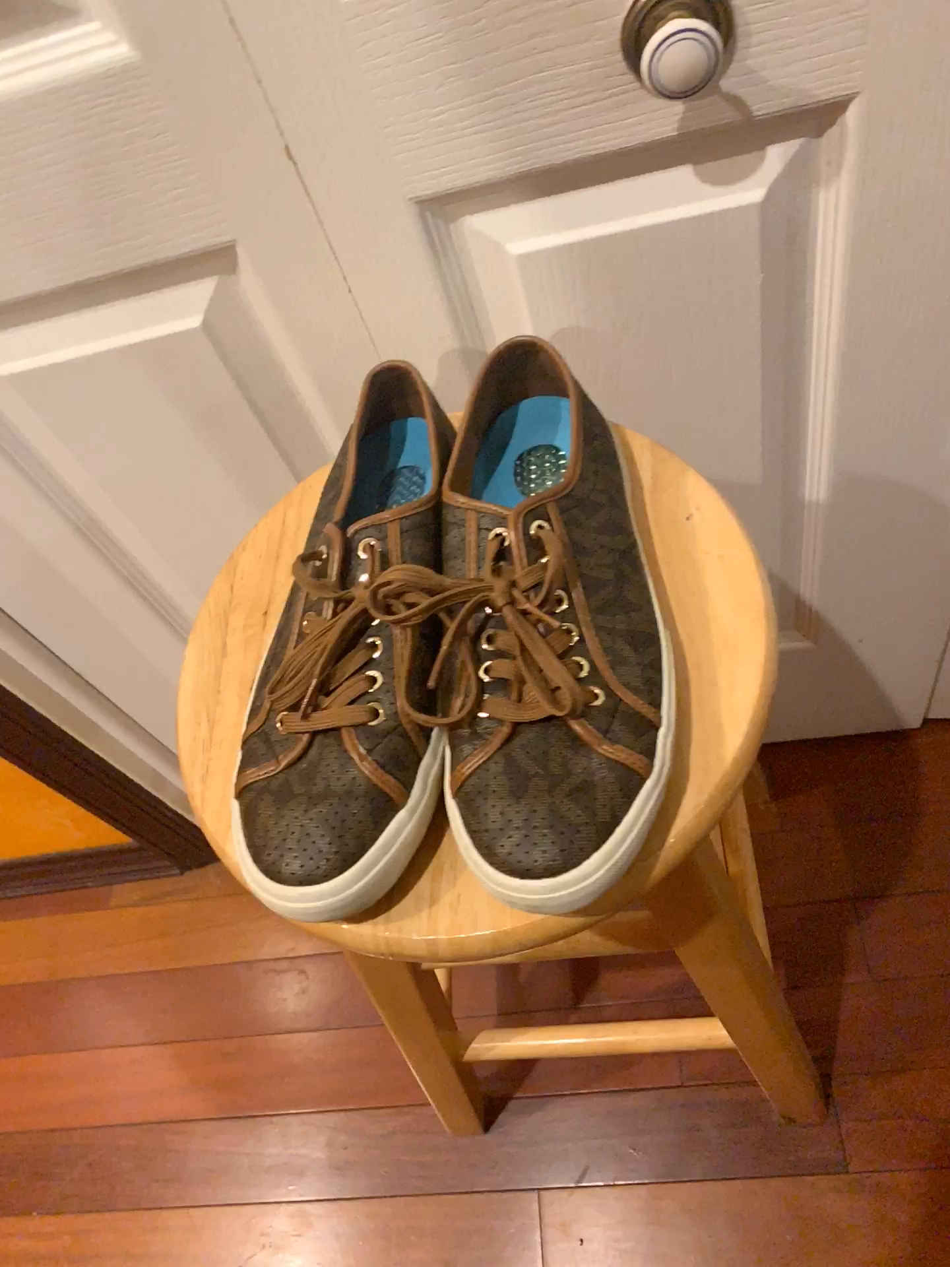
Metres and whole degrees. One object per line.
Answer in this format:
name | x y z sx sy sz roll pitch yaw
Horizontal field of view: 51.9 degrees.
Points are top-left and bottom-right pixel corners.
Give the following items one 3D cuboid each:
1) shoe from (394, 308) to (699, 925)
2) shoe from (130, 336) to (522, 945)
shoe | 0.034 -0.015 0.431 0.100 0.080 0.261 -6 58 13
shoe | -0.051 -0.005 0.447 0.100 0.090 0.261 -1 59 16
